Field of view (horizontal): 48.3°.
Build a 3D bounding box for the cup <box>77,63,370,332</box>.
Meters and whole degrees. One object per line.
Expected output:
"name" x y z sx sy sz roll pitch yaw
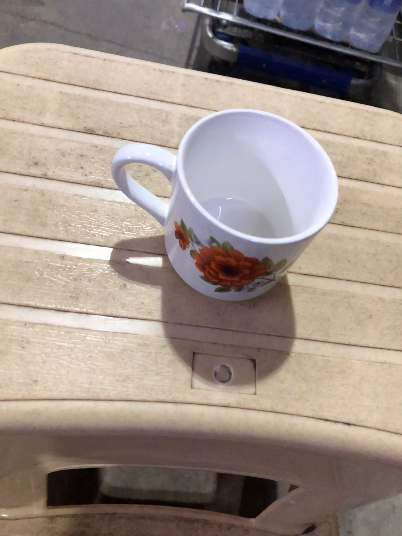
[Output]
"cup" 0.009 -0.026 0.191 0.100 0.060 0.070 13 60 -5
